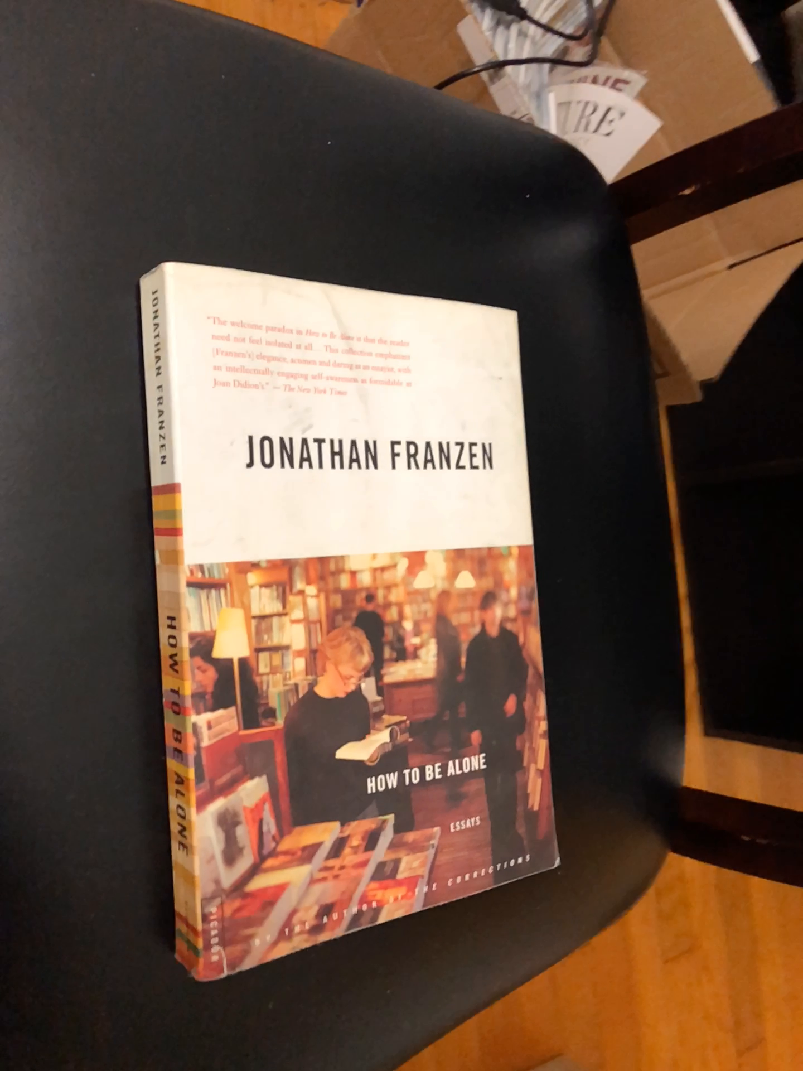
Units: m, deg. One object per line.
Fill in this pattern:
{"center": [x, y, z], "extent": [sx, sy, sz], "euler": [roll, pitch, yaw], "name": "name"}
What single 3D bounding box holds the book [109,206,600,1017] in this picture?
{"center": [-0.010, 0.019, 0.311], "extent": [0.161, 0.040, 0.230], "euler": [-2, 89, -31], "name": "book"}
